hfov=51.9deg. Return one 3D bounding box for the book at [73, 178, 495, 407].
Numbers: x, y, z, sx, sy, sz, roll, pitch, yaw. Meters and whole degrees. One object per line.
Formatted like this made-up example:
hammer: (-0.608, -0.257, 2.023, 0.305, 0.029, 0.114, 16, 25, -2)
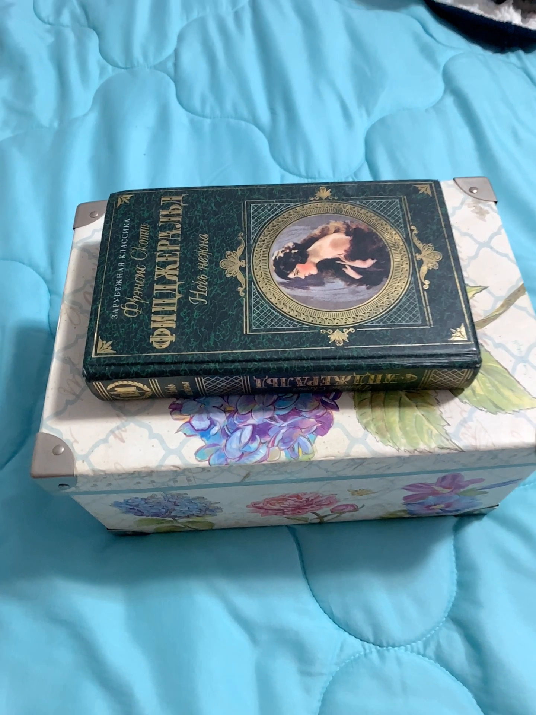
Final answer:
book: (0.007, -0.044, 0.335, 0.220, 0.030, 0.140, -2, 60, 0)
